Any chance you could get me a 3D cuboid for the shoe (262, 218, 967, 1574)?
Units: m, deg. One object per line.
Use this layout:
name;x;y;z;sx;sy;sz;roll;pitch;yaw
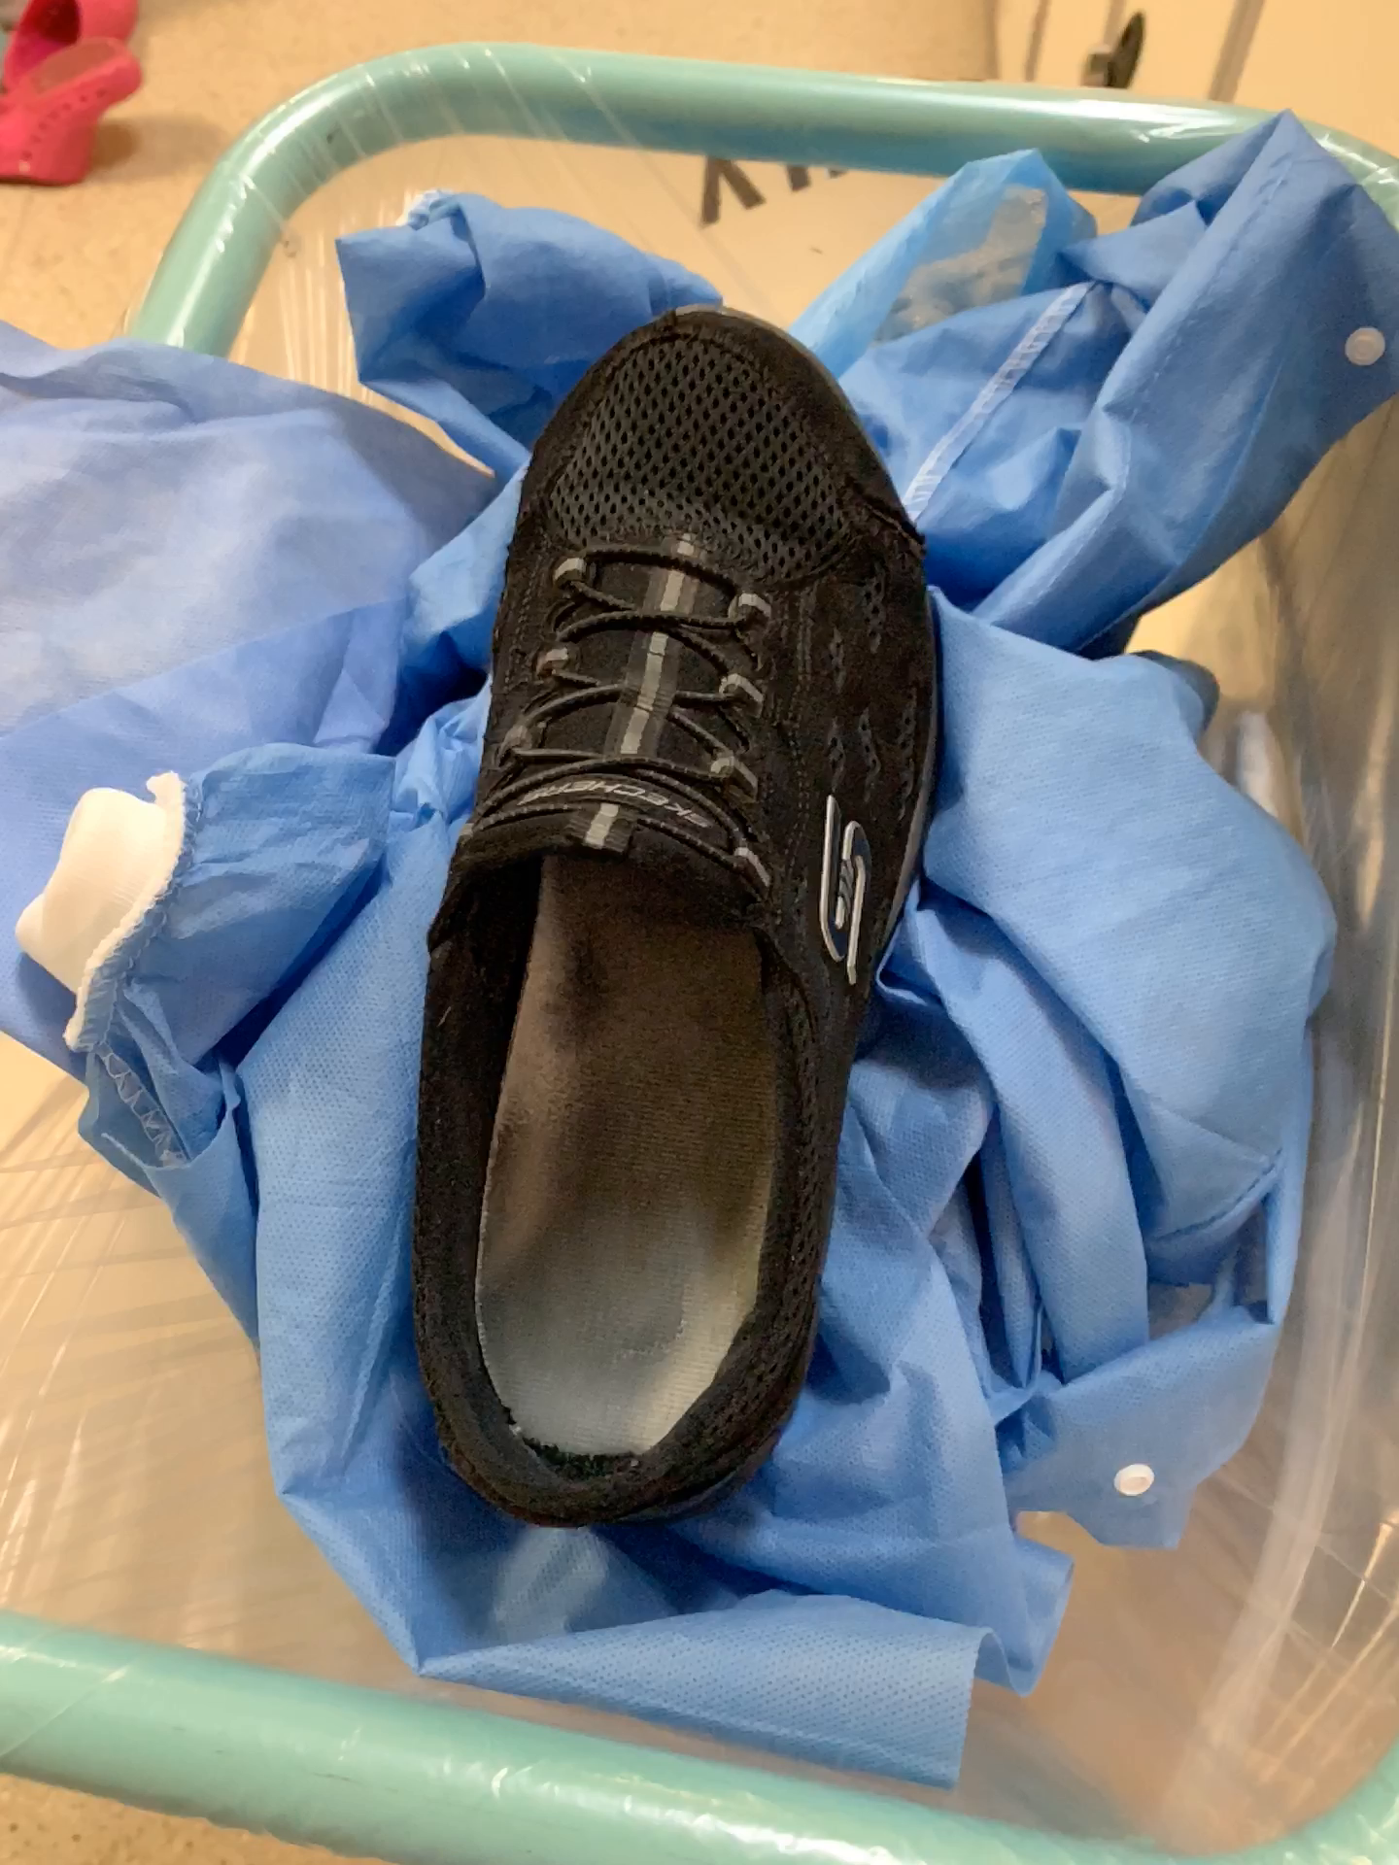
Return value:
shoe;-0.003;-0.013;0.300;0.088;0.094;0.255;6;68;5
